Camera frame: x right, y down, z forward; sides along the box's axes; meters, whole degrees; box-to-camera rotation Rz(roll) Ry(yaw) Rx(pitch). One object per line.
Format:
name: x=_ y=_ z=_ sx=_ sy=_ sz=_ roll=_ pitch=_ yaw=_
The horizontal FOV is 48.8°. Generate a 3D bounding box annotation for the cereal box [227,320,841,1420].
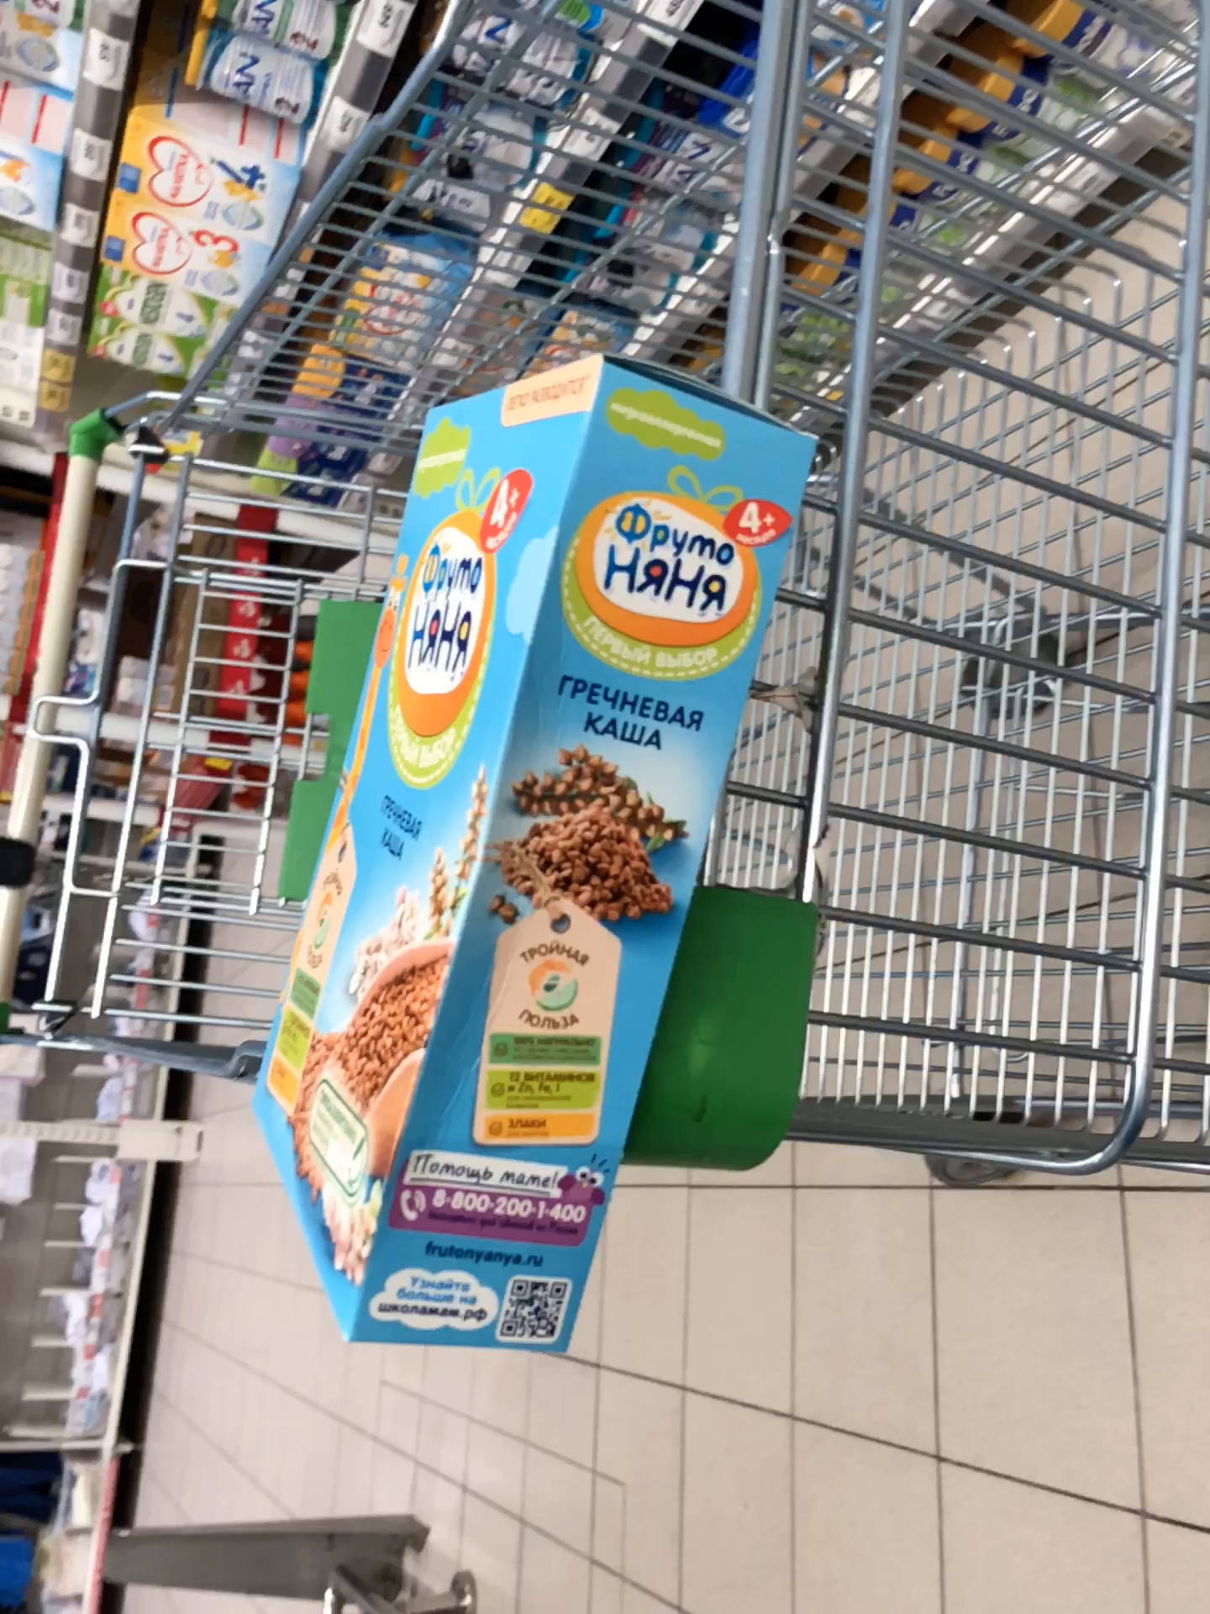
cereal box: x=-0.033 y=0.006 z=0.324 sx=0.151 sy=0.050 sz=0.210 roll=25 pitch=101 yaw=65
